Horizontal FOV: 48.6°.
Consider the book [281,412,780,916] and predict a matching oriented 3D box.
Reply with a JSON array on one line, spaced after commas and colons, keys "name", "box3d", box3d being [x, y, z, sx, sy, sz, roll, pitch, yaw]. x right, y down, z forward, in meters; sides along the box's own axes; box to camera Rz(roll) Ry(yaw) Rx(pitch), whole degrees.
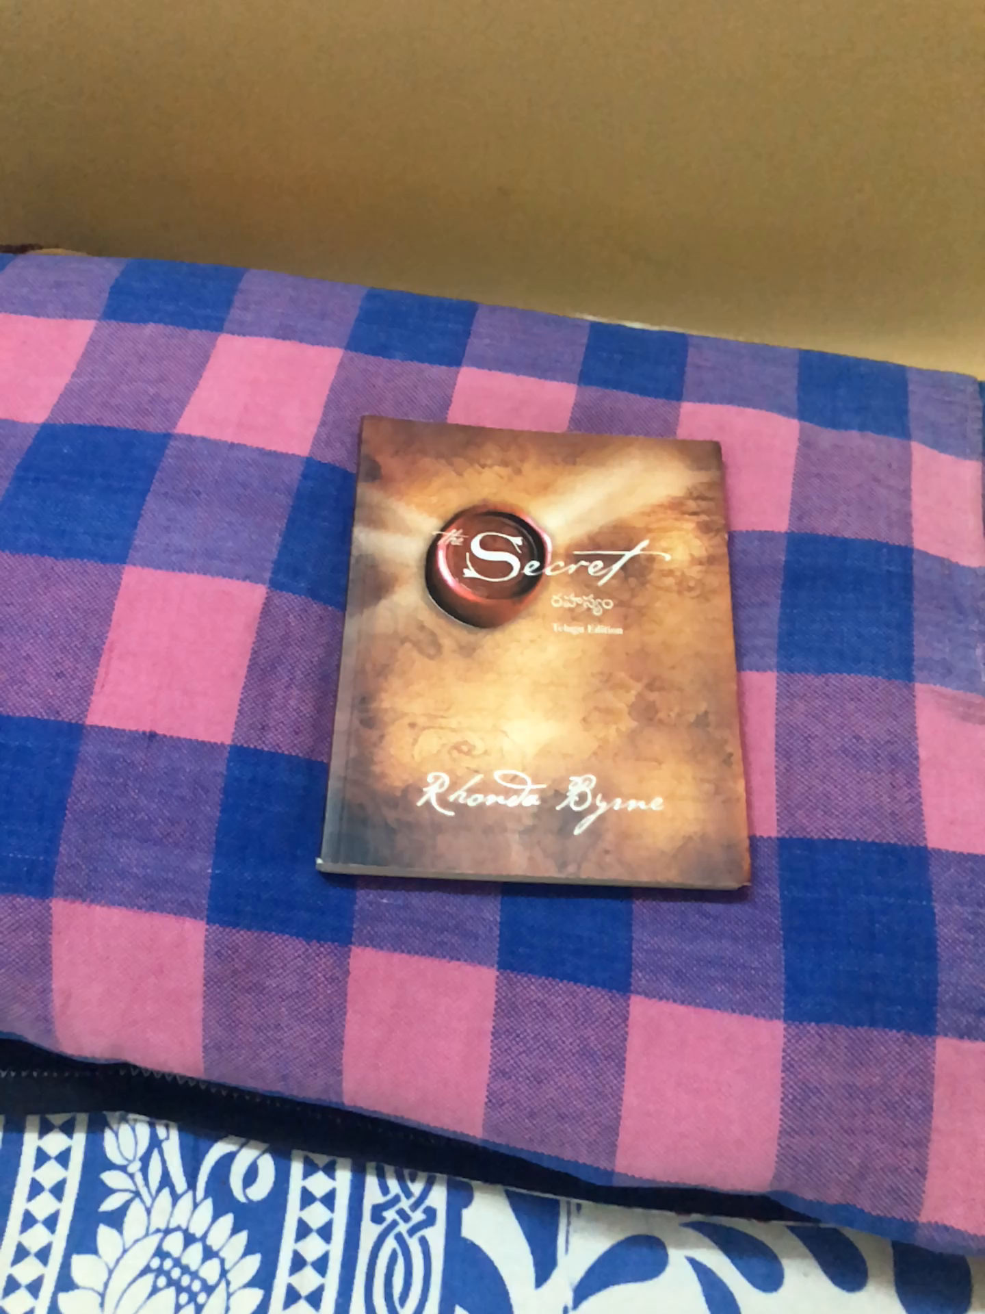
[{"name": "book", "box3d": [0.014, -0.007, 0.387, 0.150, 0.020, 0.190, 2, 58, -1]}]
